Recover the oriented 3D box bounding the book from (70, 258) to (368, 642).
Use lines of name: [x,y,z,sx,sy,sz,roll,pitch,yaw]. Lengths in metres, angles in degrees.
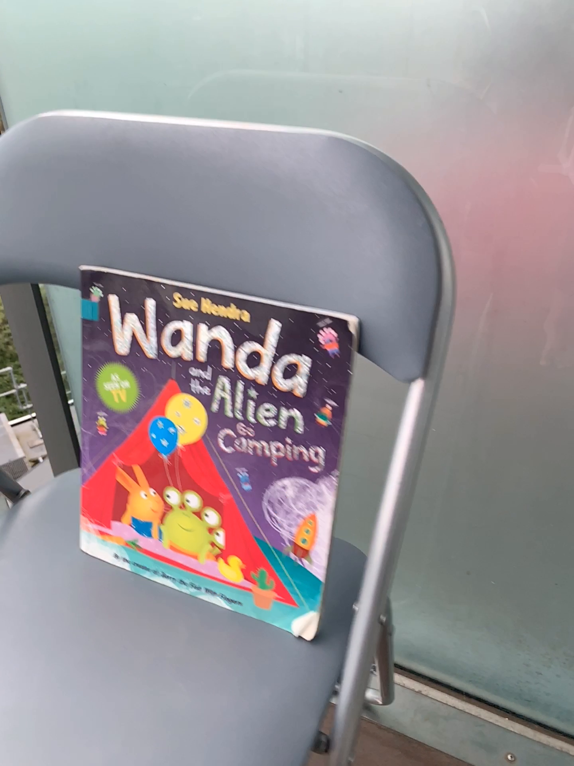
book: [-0.067,0.053,0.477,0.230,0.268,0.030,14,23,20]
